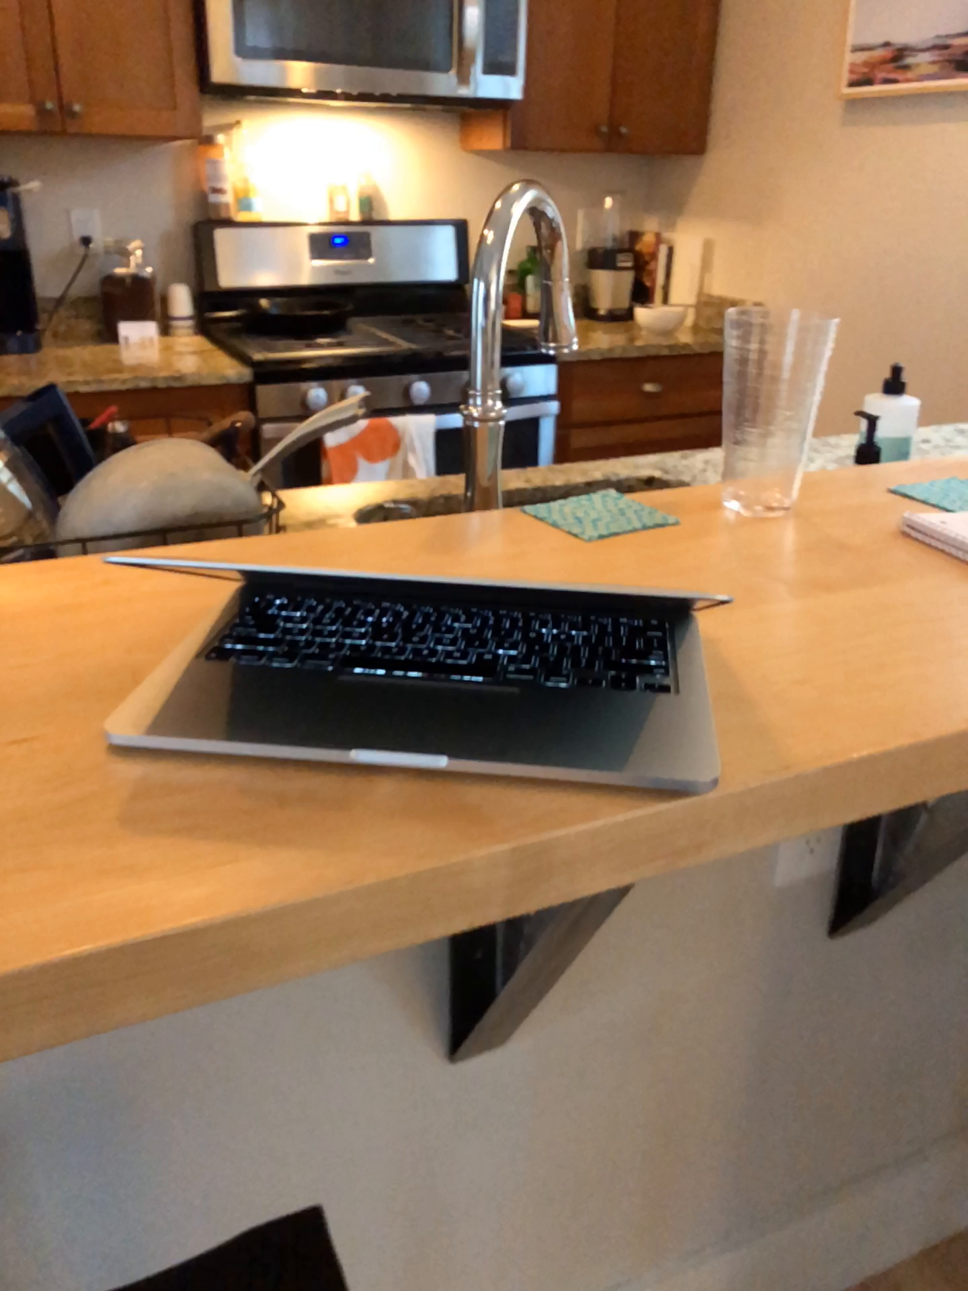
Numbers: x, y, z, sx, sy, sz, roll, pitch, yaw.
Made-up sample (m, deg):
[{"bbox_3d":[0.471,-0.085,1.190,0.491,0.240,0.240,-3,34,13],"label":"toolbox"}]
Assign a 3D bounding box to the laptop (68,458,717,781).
[{"bbox_3d":[-0.034,-0.029,0.600,0.299,0.084,0.211,4,24,6],"label":"laptop"}]
